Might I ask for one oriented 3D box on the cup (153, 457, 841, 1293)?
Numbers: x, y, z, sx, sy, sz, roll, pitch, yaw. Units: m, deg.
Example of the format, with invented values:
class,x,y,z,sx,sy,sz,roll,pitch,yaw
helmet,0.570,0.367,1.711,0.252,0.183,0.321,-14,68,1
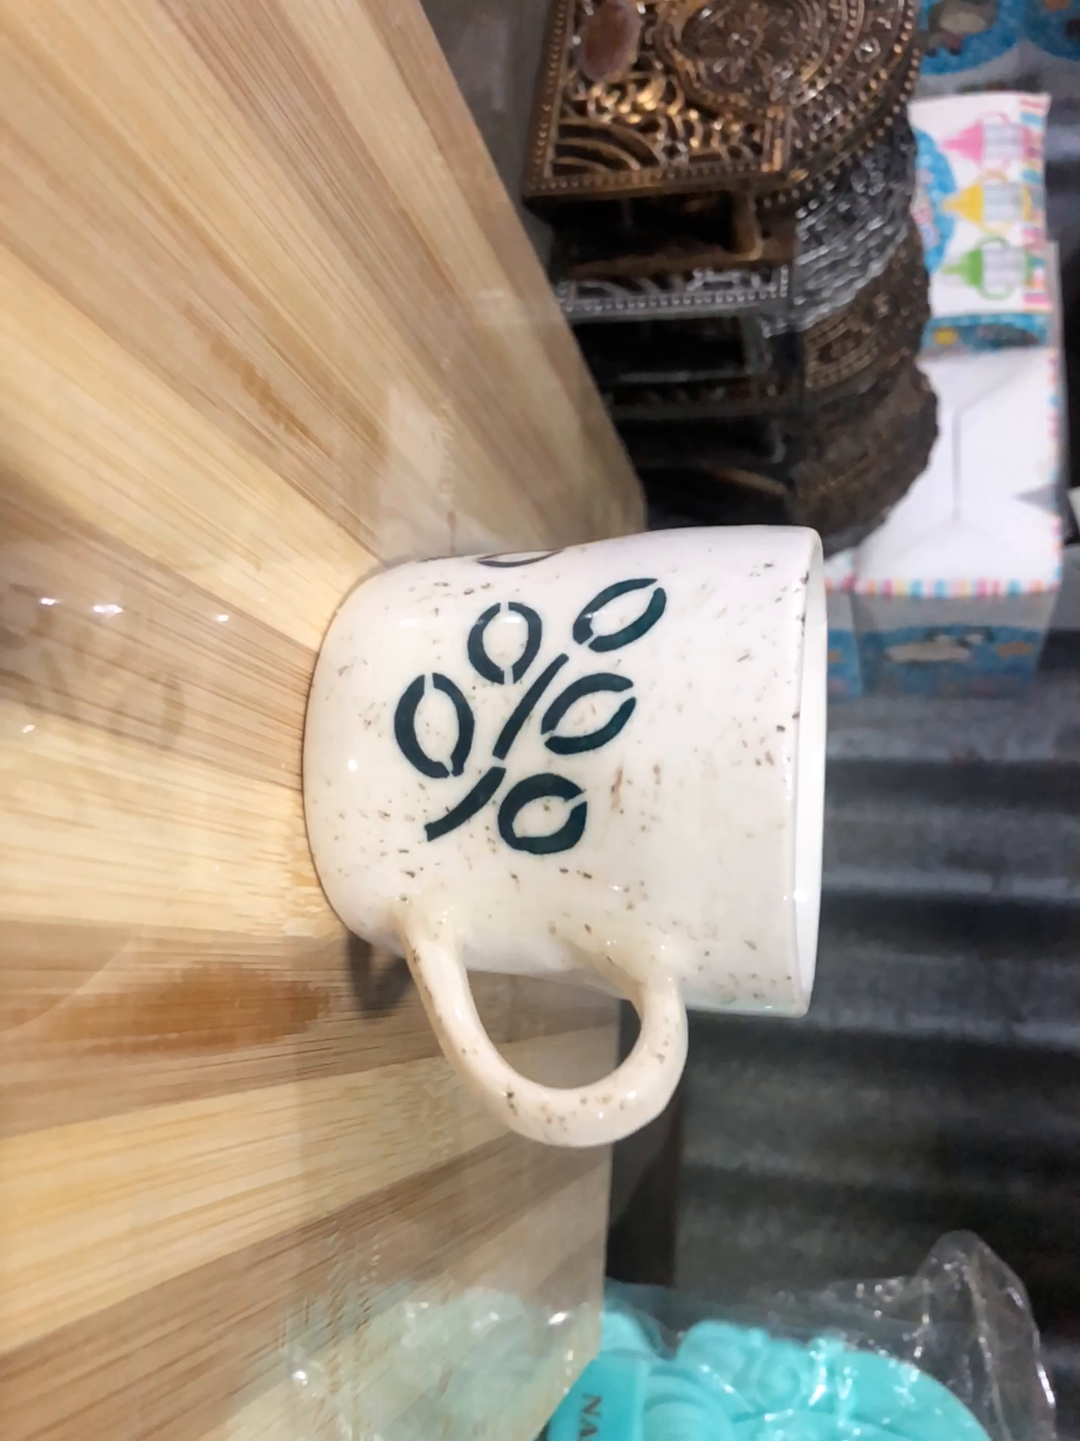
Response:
class,x,y,z,sx,sy,sz,roll,pitch,yaw
cup,0.007,0.023,0.181,0.080,0.070,0.090,74,22,-51
